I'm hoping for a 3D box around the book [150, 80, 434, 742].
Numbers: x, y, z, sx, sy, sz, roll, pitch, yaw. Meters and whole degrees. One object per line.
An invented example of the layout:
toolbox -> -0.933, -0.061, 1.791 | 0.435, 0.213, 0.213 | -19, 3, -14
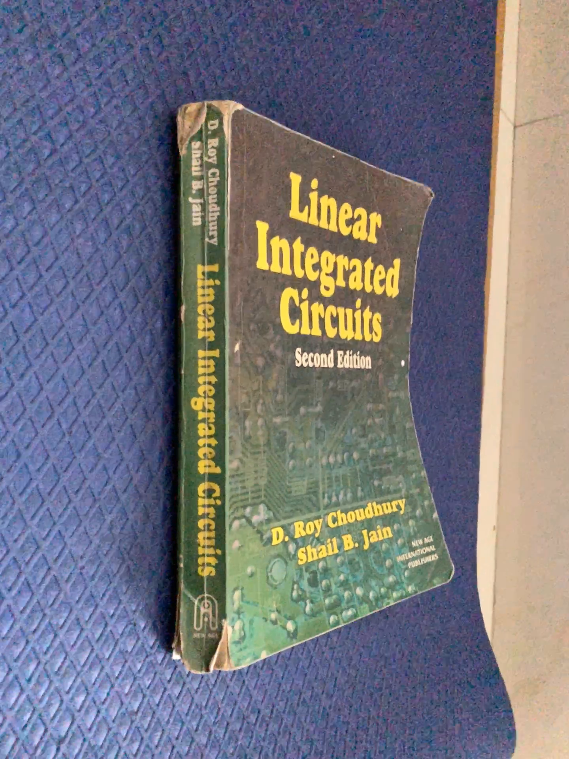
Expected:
book -> 0.018, 0.013, 0.326 | 0.191, 0.040, 0.270 | 2, 88, -48
